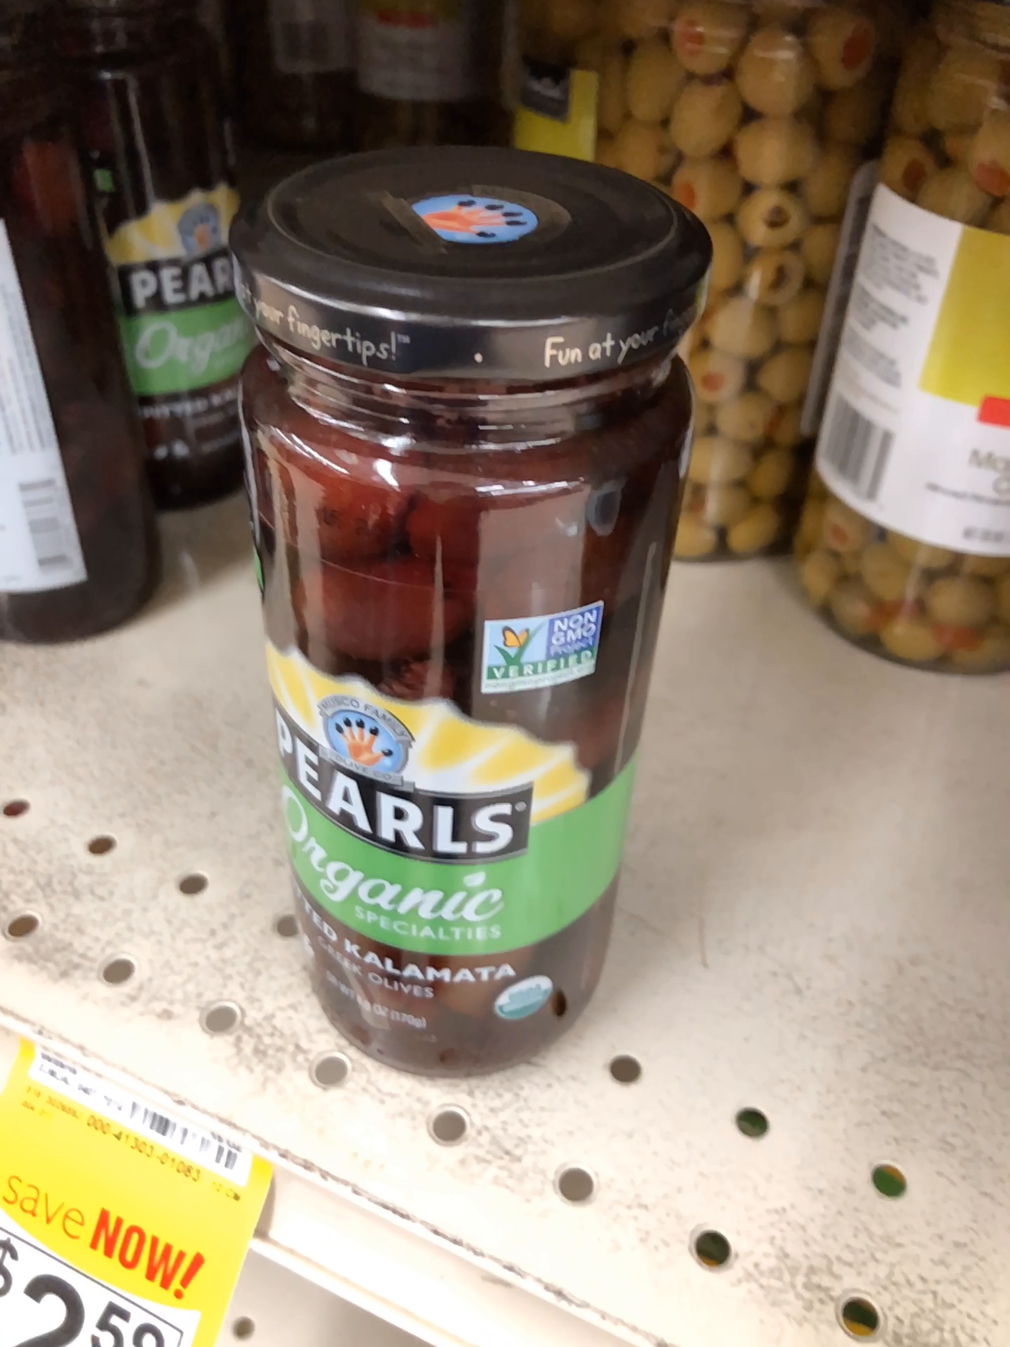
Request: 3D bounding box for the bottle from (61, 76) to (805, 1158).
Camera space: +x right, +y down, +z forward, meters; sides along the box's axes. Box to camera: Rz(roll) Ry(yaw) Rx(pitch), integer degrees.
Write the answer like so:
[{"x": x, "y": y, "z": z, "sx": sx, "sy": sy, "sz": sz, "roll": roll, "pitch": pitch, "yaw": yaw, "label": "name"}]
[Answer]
[{"x": -0.007, "y": 0.000, "z": 0.179, "sx": 0.063, "sy": 0.150, "sz": 0.060, "roll": 1, "pitch": 41, "yaw": -1, "label": "bottle"}]
